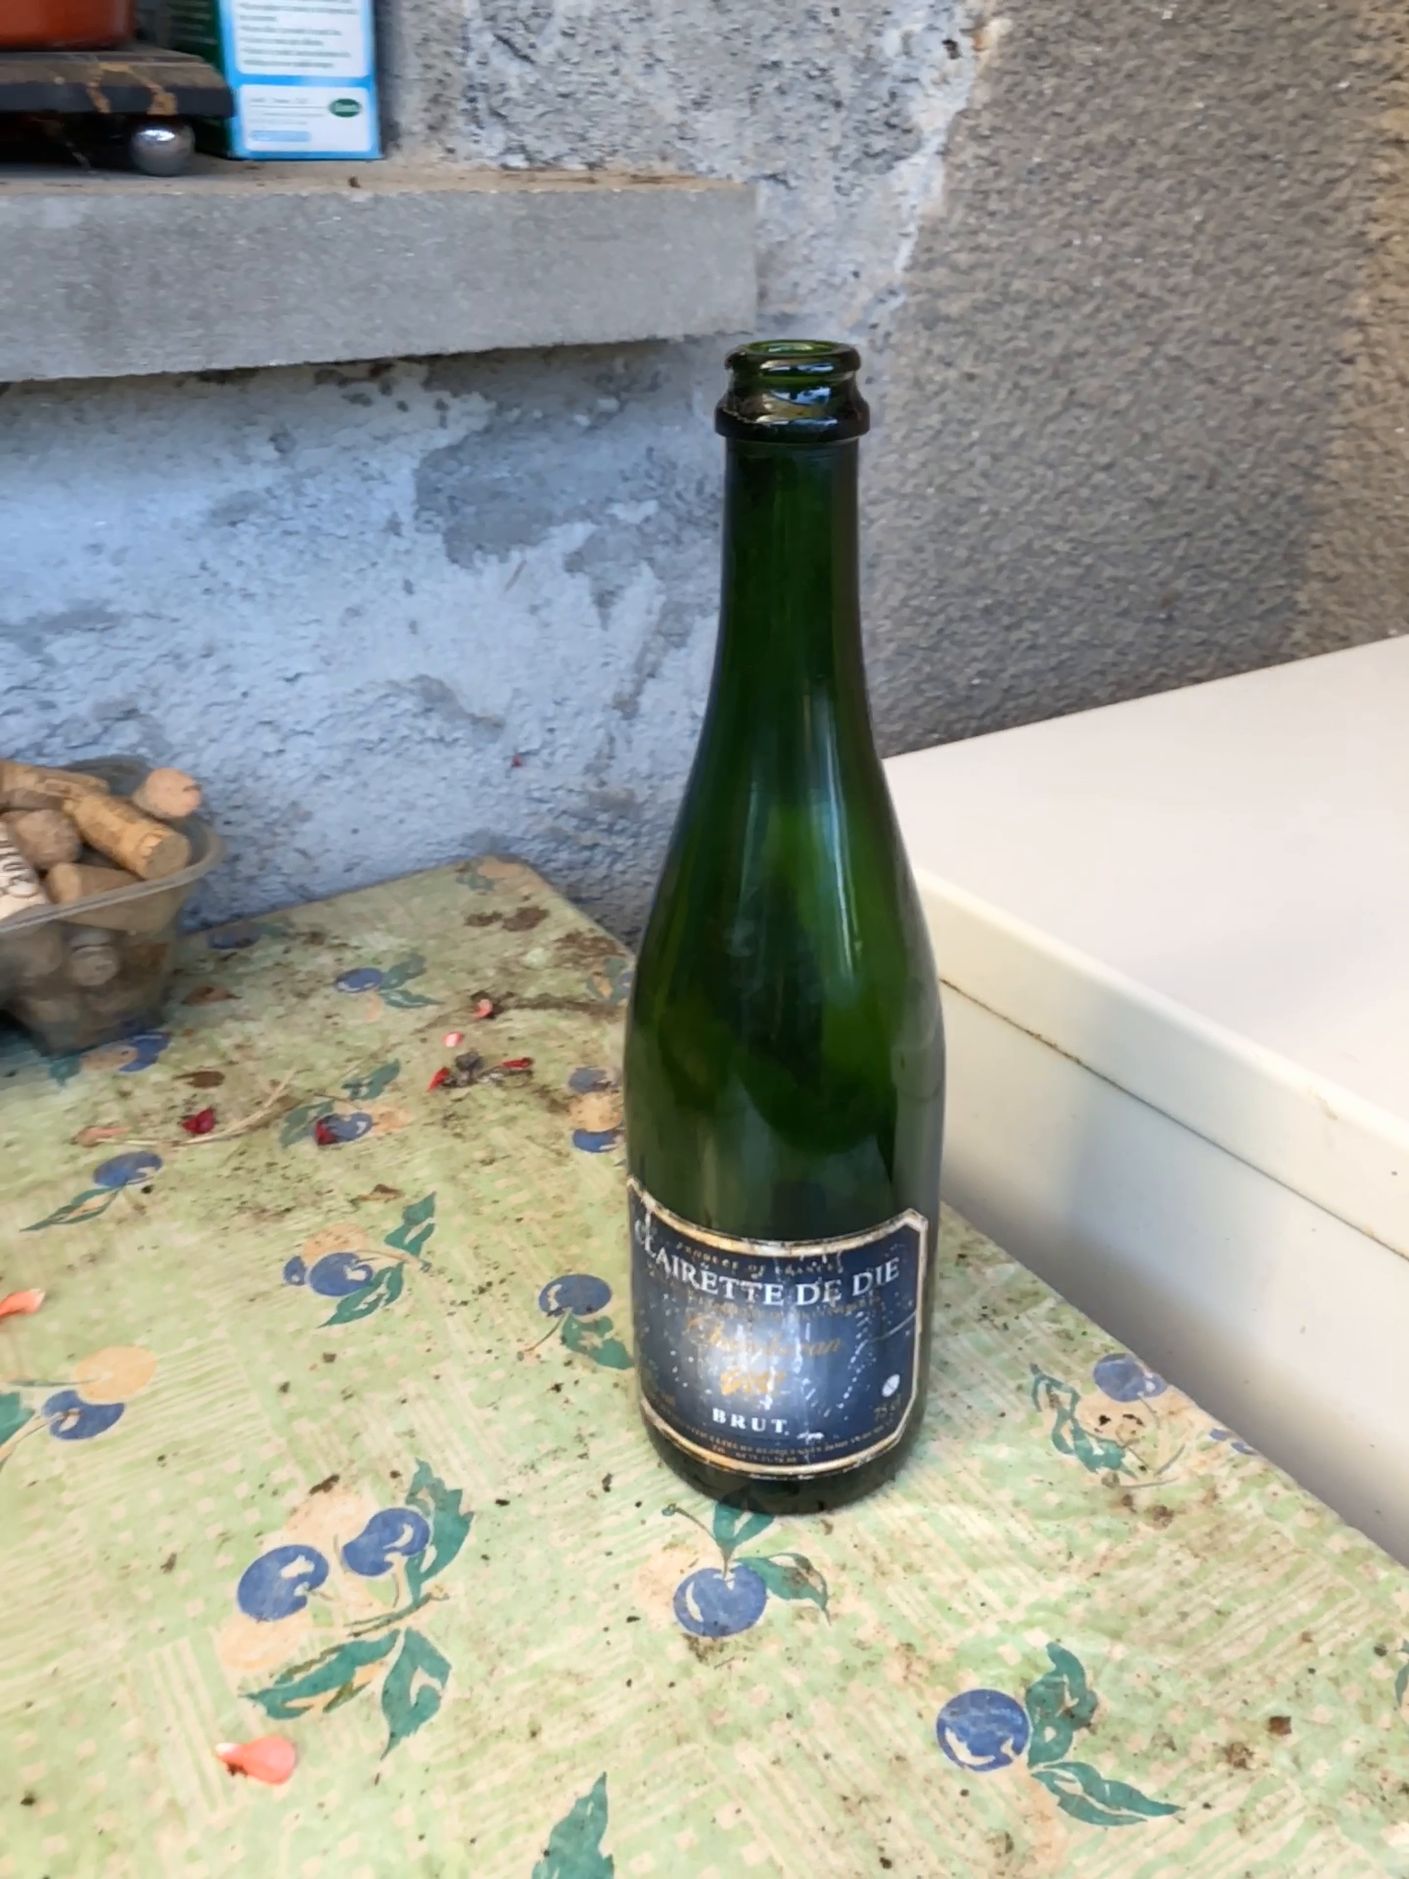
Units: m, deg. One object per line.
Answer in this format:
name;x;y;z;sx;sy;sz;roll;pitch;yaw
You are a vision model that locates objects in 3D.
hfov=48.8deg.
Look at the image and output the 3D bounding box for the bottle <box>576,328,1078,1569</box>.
bottle;0.029;0.011;0.405;0.090;0.308;0.081;9;28;17
